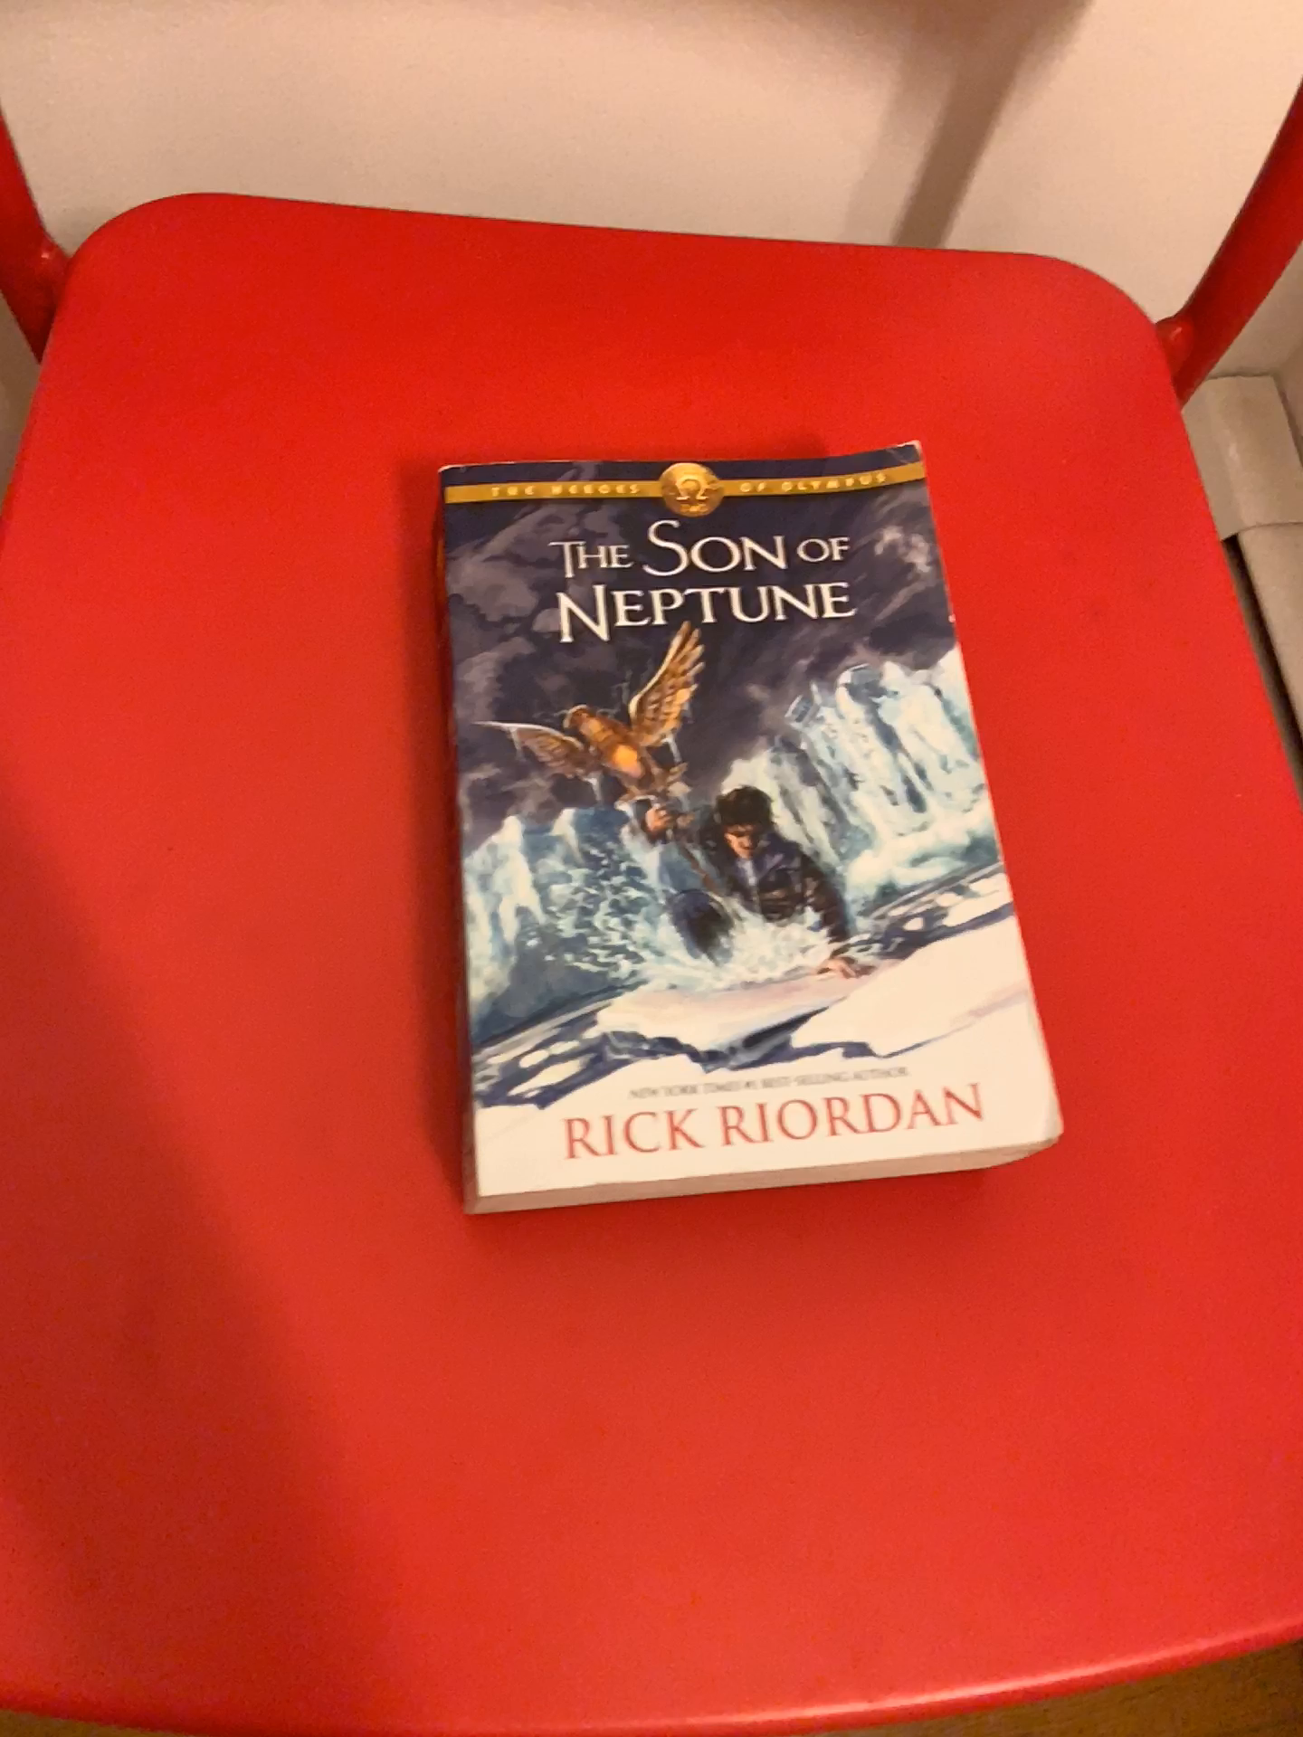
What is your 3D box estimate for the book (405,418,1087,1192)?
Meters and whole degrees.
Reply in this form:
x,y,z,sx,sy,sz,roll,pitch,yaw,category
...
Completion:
x,y,z,sx,sy,sz,roll,pitch,yaw,category
0.014,-0.023,0.335,0.142,0.040,0.188,-2,68,-9,book
